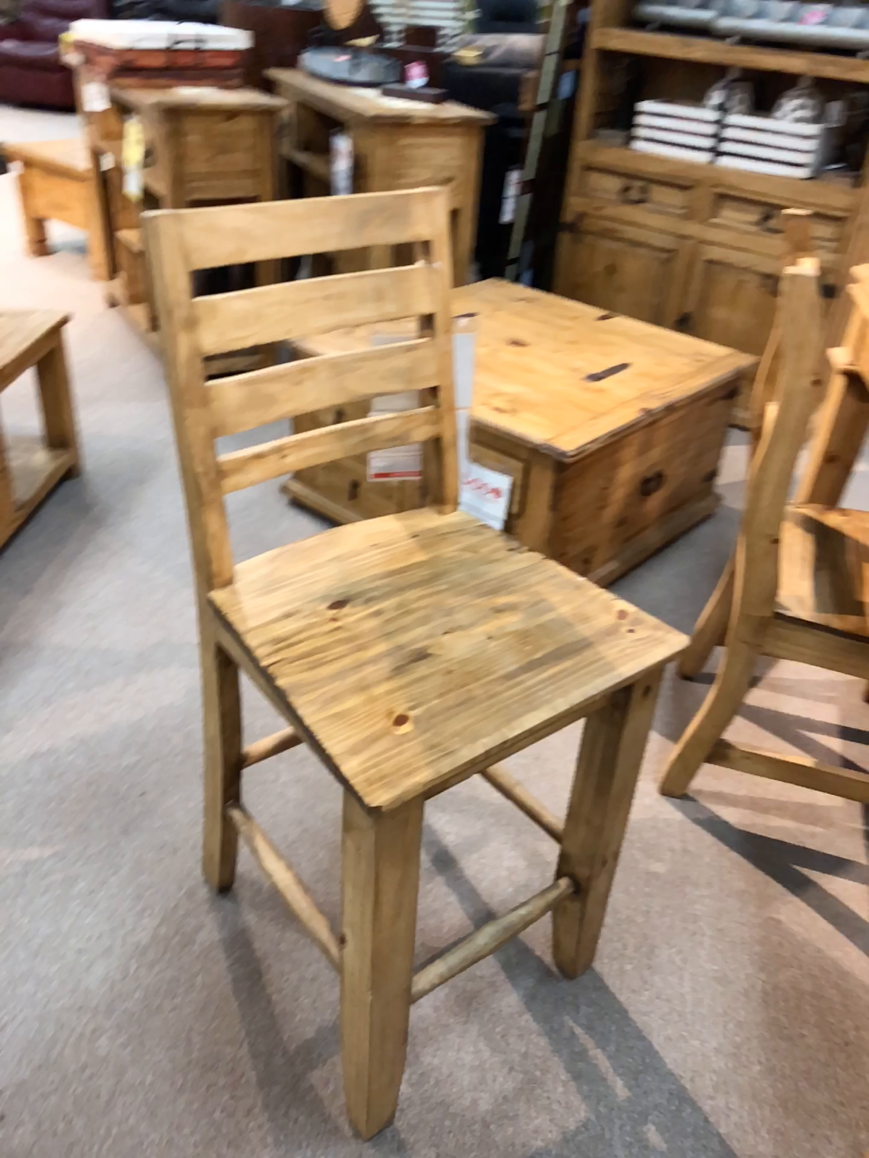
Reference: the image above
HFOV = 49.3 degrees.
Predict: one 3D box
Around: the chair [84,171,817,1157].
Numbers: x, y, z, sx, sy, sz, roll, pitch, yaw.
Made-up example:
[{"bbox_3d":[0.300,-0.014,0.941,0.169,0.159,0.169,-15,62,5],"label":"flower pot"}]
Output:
[{"bbox_3d":[-0.029,0.105,1.169,0.471,1.013,0.523,-21,40,-33],"label":"chair"}]
